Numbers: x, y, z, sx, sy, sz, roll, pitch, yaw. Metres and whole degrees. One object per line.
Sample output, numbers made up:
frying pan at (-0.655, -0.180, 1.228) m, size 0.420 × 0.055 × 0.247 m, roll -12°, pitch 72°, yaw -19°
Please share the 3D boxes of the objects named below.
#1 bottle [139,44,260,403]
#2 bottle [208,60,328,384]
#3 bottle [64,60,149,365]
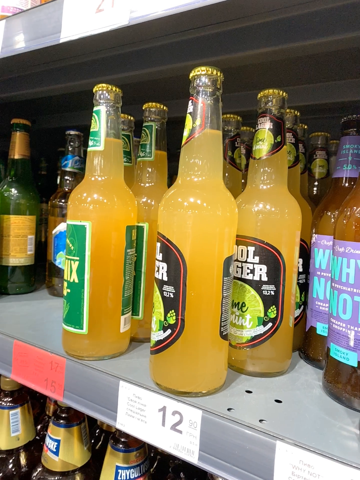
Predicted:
bottle at (0.011, -0.010, 0.294) m, size 0.065 × 0.244 × 0.063 m, roll 3°, pitch 4°, yaw 0°
bottle at (0.076, -0.013, 0.339) m, size 0.069 × 0.260 × 0.063 m, roll 3°, pitch 4°, yaw 0°
bottle at (-0.076, -0.023, 0.365) m, size 0.064 × 0.260 × 0.078 m, roll 1°, pitch 4°, yaw -19°
